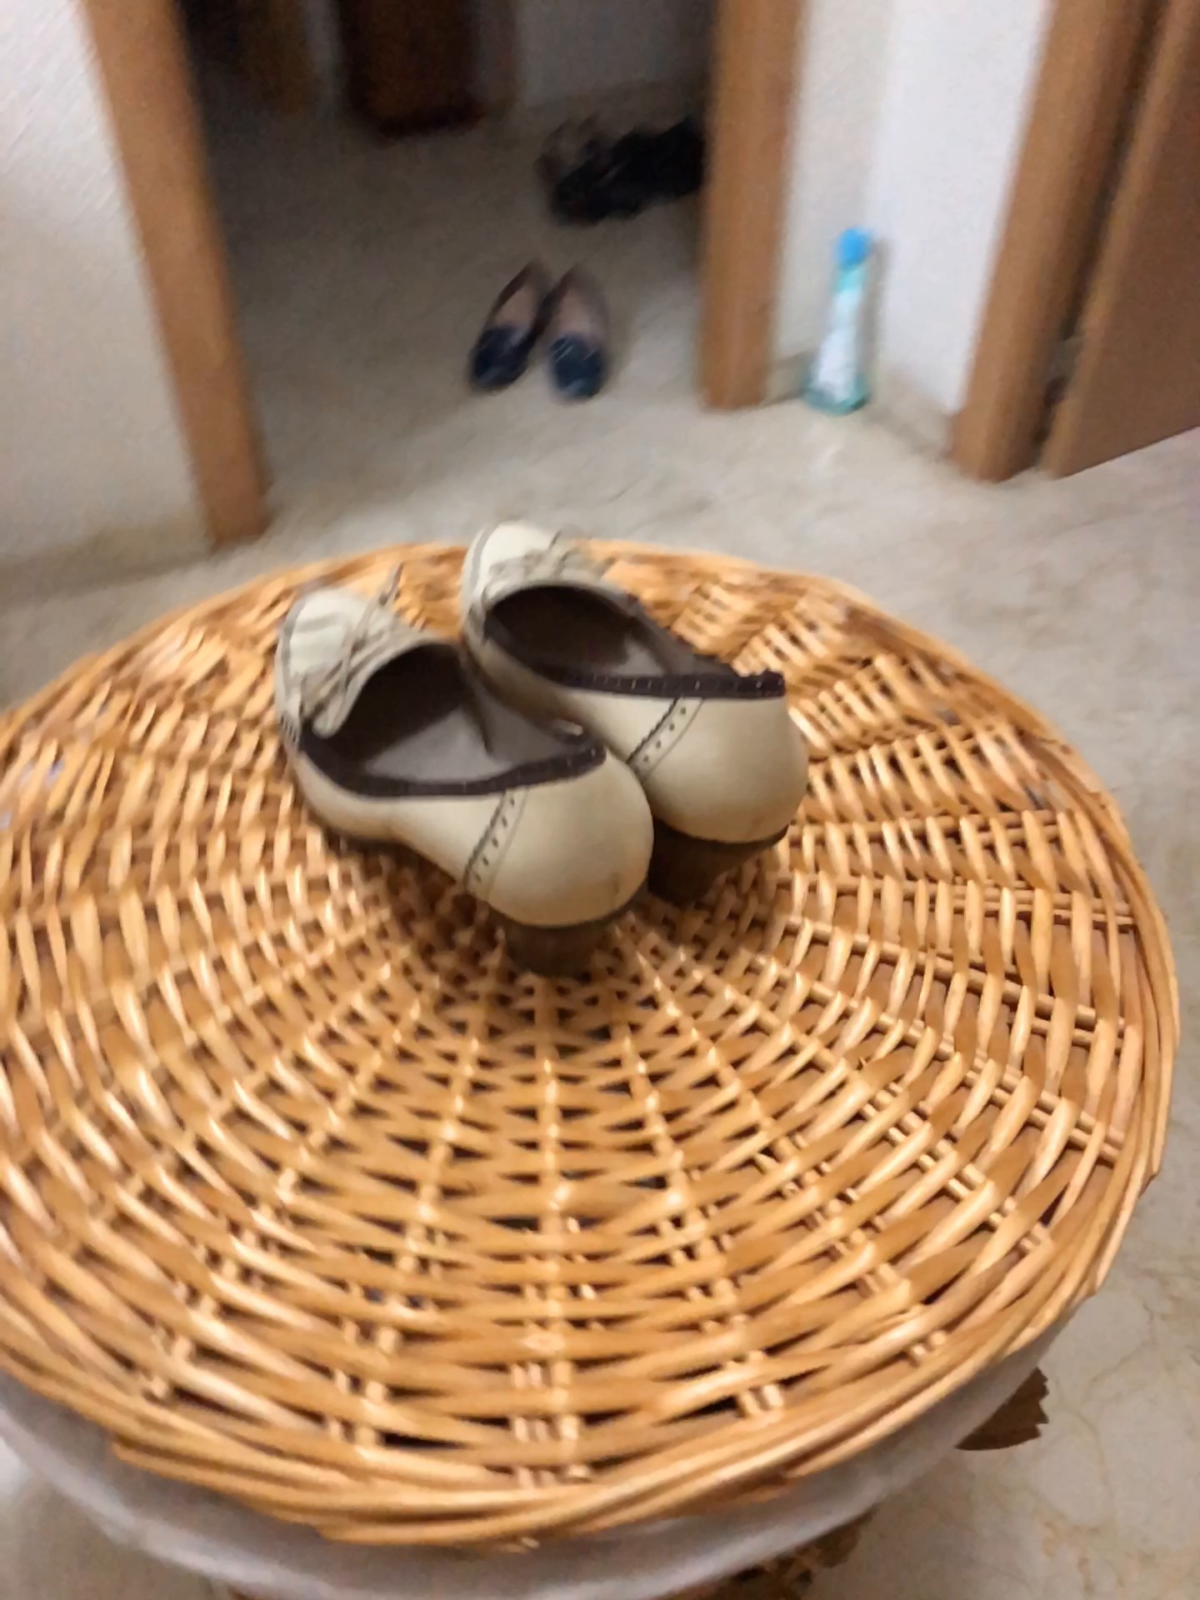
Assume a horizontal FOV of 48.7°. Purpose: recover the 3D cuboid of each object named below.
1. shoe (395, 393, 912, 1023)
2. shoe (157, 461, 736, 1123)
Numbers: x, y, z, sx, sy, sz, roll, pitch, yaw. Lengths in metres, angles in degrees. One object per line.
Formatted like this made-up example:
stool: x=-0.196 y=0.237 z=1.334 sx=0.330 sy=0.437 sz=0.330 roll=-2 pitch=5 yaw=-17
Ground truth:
shoe: x=0.004 y=-0.054 z=0.552 sx=0.100 sy=0.110 sz=0.261 roll=-14 pitch=46 yaw=-20
shoe: x=-0.071 y=-0.021 z=0.506 sx=0.100 sy=0.090 sz=0.261 roll=-20 pitch=48 yaw=-25
